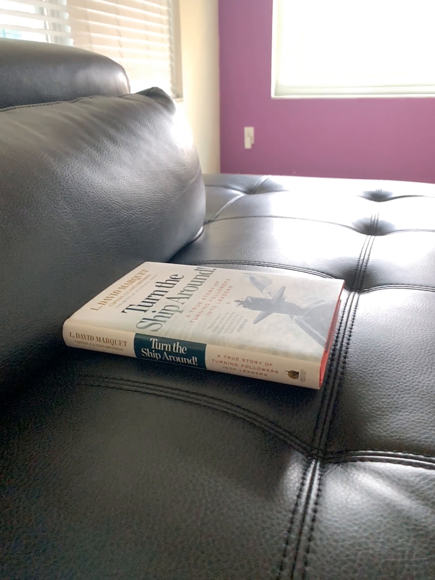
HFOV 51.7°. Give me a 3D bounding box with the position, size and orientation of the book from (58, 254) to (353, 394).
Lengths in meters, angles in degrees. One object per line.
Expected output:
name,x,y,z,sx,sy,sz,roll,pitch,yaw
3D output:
book,-0.001,0.016,0.409,0.226,0.029,0.153,6,26,19
